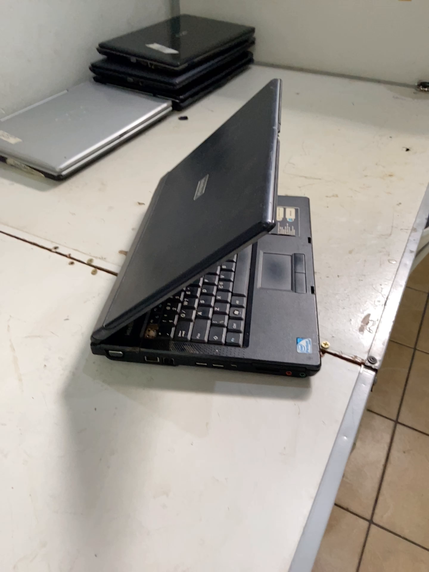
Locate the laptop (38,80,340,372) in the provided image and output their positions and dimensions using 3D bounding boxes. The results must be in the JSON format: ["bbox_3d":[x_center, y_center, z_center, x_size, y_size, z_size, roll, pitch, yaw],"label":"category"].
[{"bbox_3d":[-0.005,-0.096,0.515,0.235,0.168,0.326,5,41,5],"label":"laptop"}]
